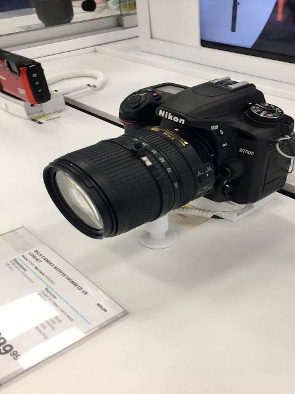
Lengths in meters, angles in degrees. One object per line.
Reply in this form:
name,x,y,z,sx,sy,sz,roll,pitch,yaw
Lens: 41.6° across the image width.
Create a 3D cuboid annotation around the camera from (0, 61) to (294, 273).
camera,0.001,-0.038,0.324,0.183,0.092,0.136,-25,43,-26
